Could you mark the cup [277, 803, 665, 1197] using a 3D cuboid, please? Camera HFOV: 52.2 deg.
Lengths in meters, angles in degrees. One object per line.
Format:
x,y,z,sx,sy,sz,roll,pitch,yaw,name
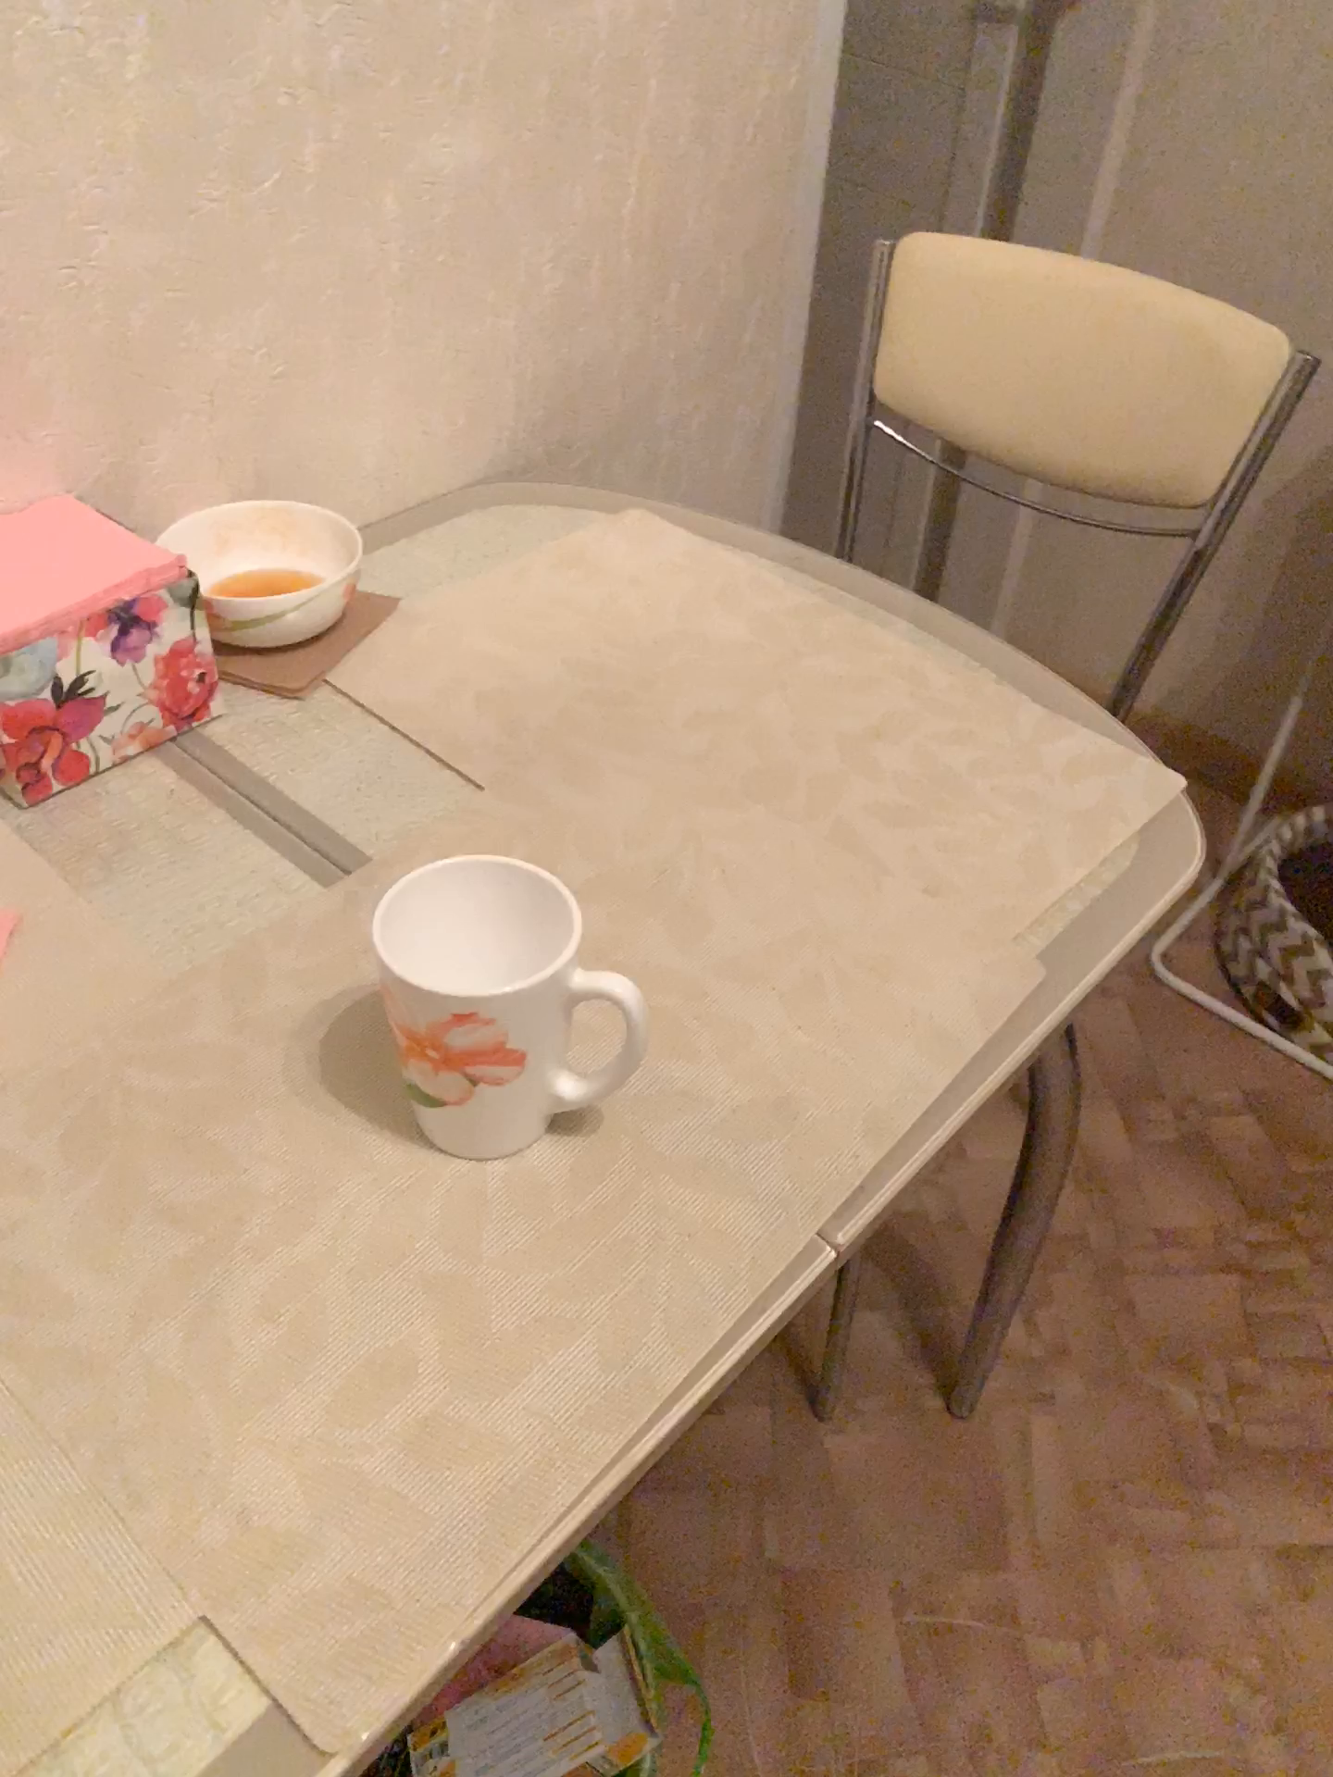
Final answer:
-0.071,0.042,0.532,0.119,0.099,0.084,12,42,10,cup
